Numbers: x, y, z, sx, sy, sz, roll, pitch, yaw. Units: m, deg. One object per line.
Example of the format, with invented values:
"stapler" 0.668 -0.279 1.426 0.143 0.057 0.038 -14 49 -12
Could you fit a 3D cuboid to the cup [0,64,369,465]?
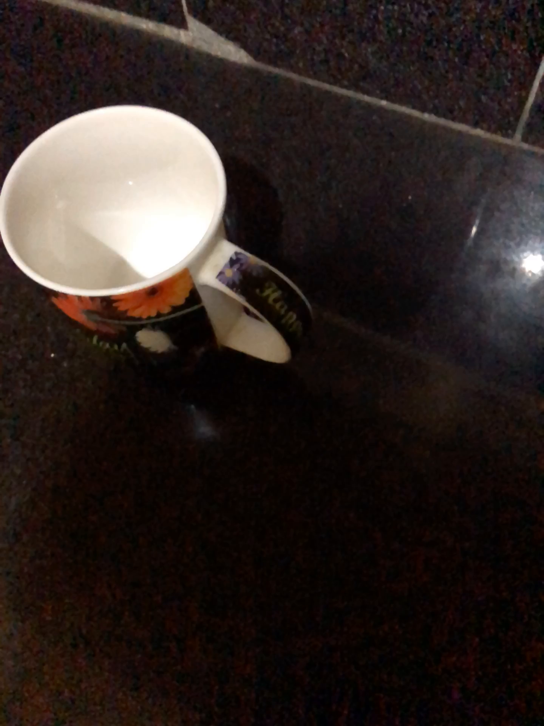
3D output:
"cup" -0.041 -0.038 0.257 0.130 0.090 0.090 28 73 15
